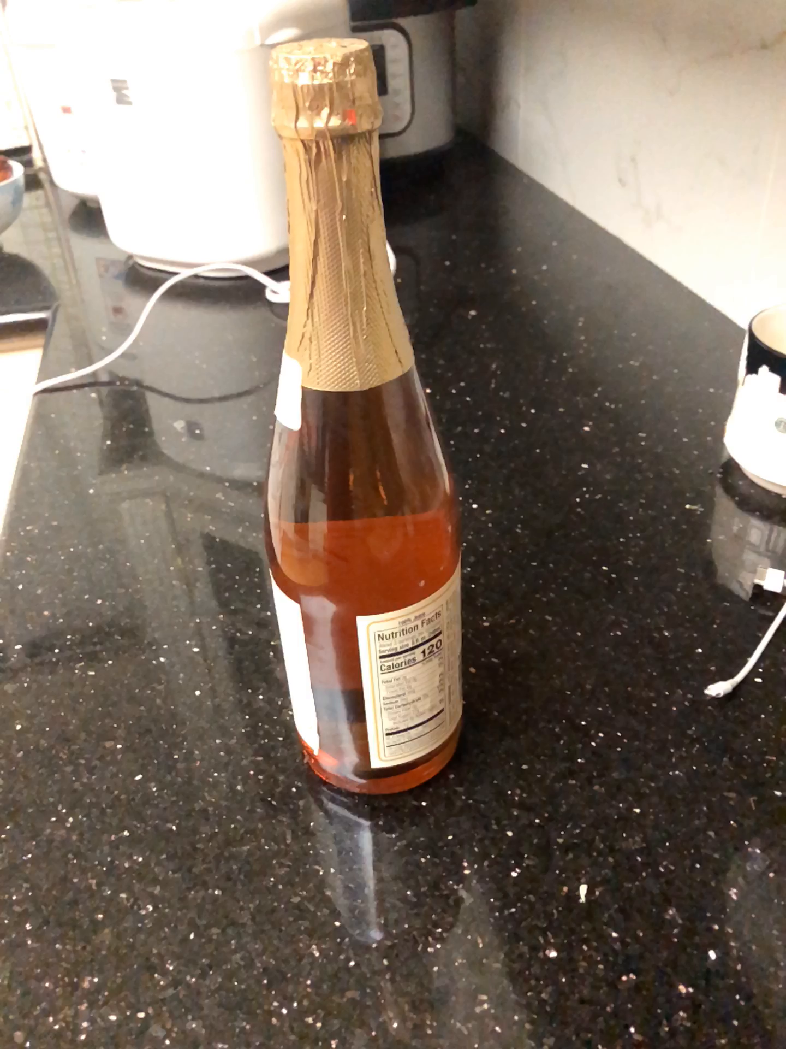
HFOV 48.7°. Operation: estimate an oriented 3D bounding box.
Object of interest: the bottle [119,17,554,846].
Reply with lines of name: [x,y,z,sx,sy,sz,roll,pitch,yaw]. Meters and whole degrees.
bottle: [-0.009,-0.019,0.340,0.090,0.298,0.090,-3,36,2]
